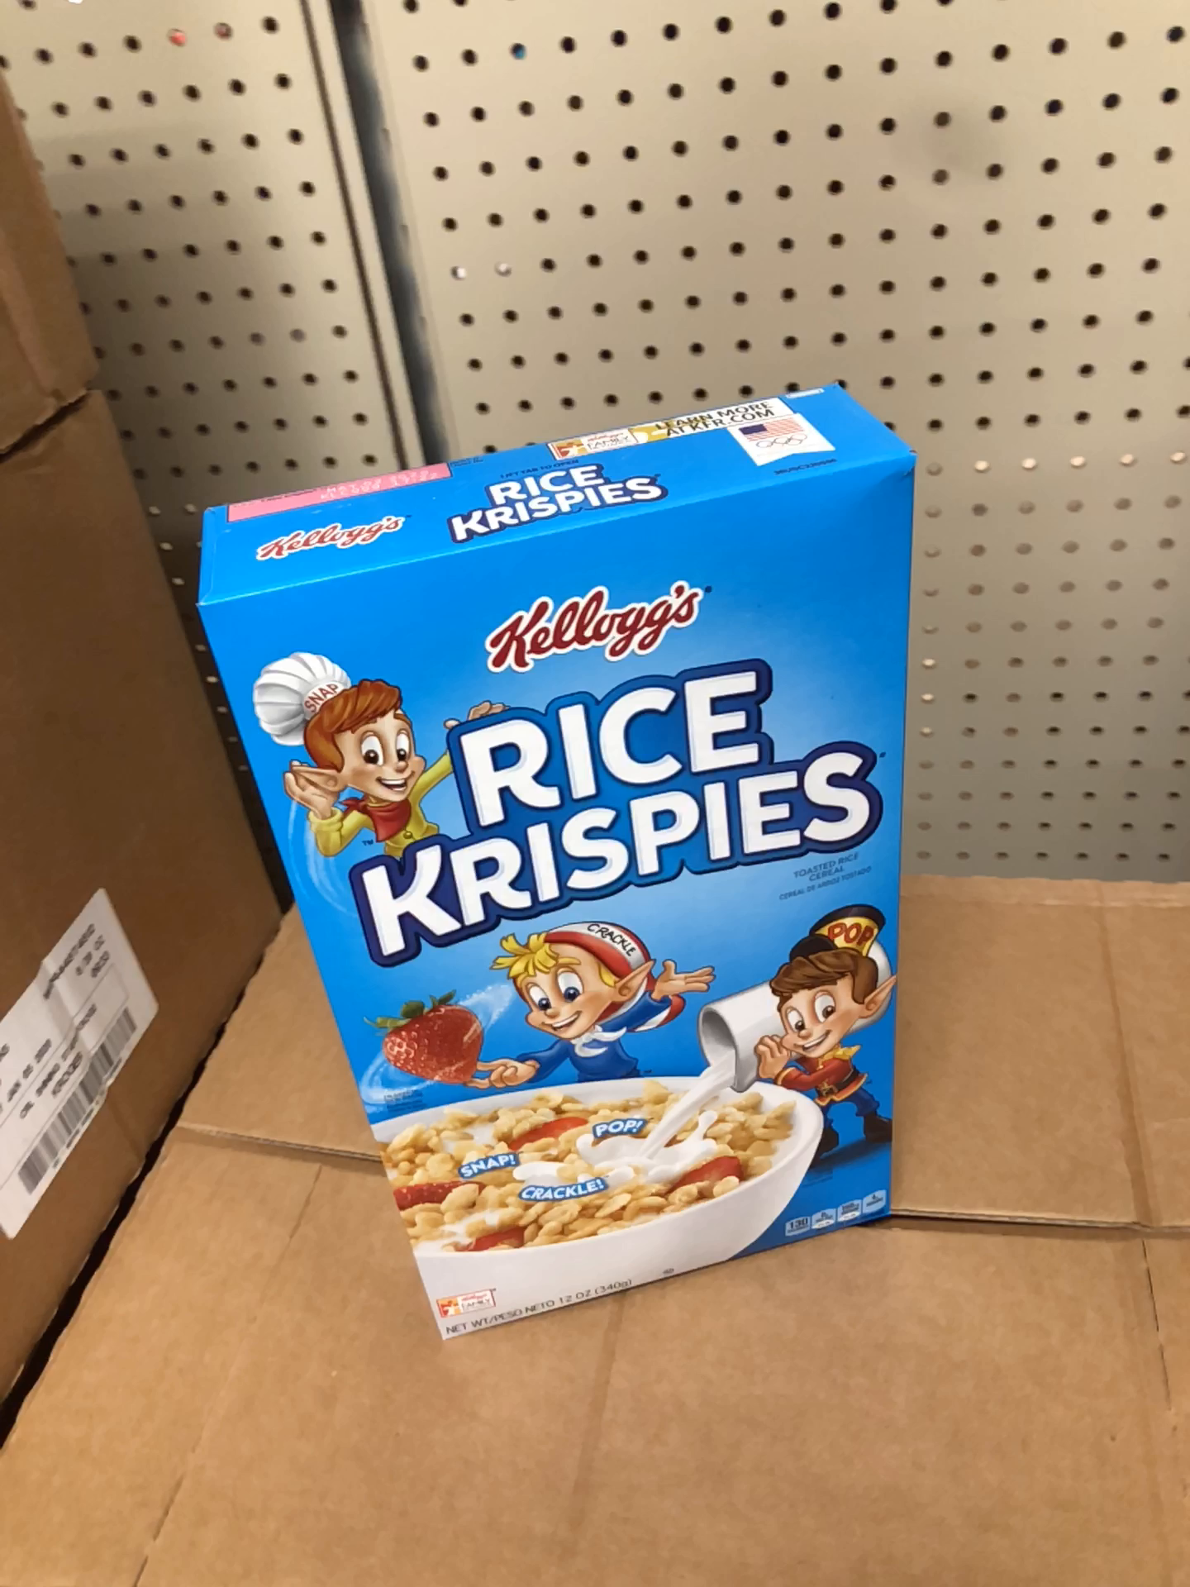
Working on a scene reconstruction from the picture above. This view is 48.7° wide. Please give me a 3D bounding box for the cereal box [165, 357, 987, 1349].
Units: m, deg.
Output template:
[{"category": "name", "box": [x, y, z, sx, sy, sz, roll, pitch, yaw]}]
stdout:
[{"category": "cereal box", "box": [0.011, 0.044, 0.453, 0.210, 0.329, 0.070, -14, 38, -6]}]
